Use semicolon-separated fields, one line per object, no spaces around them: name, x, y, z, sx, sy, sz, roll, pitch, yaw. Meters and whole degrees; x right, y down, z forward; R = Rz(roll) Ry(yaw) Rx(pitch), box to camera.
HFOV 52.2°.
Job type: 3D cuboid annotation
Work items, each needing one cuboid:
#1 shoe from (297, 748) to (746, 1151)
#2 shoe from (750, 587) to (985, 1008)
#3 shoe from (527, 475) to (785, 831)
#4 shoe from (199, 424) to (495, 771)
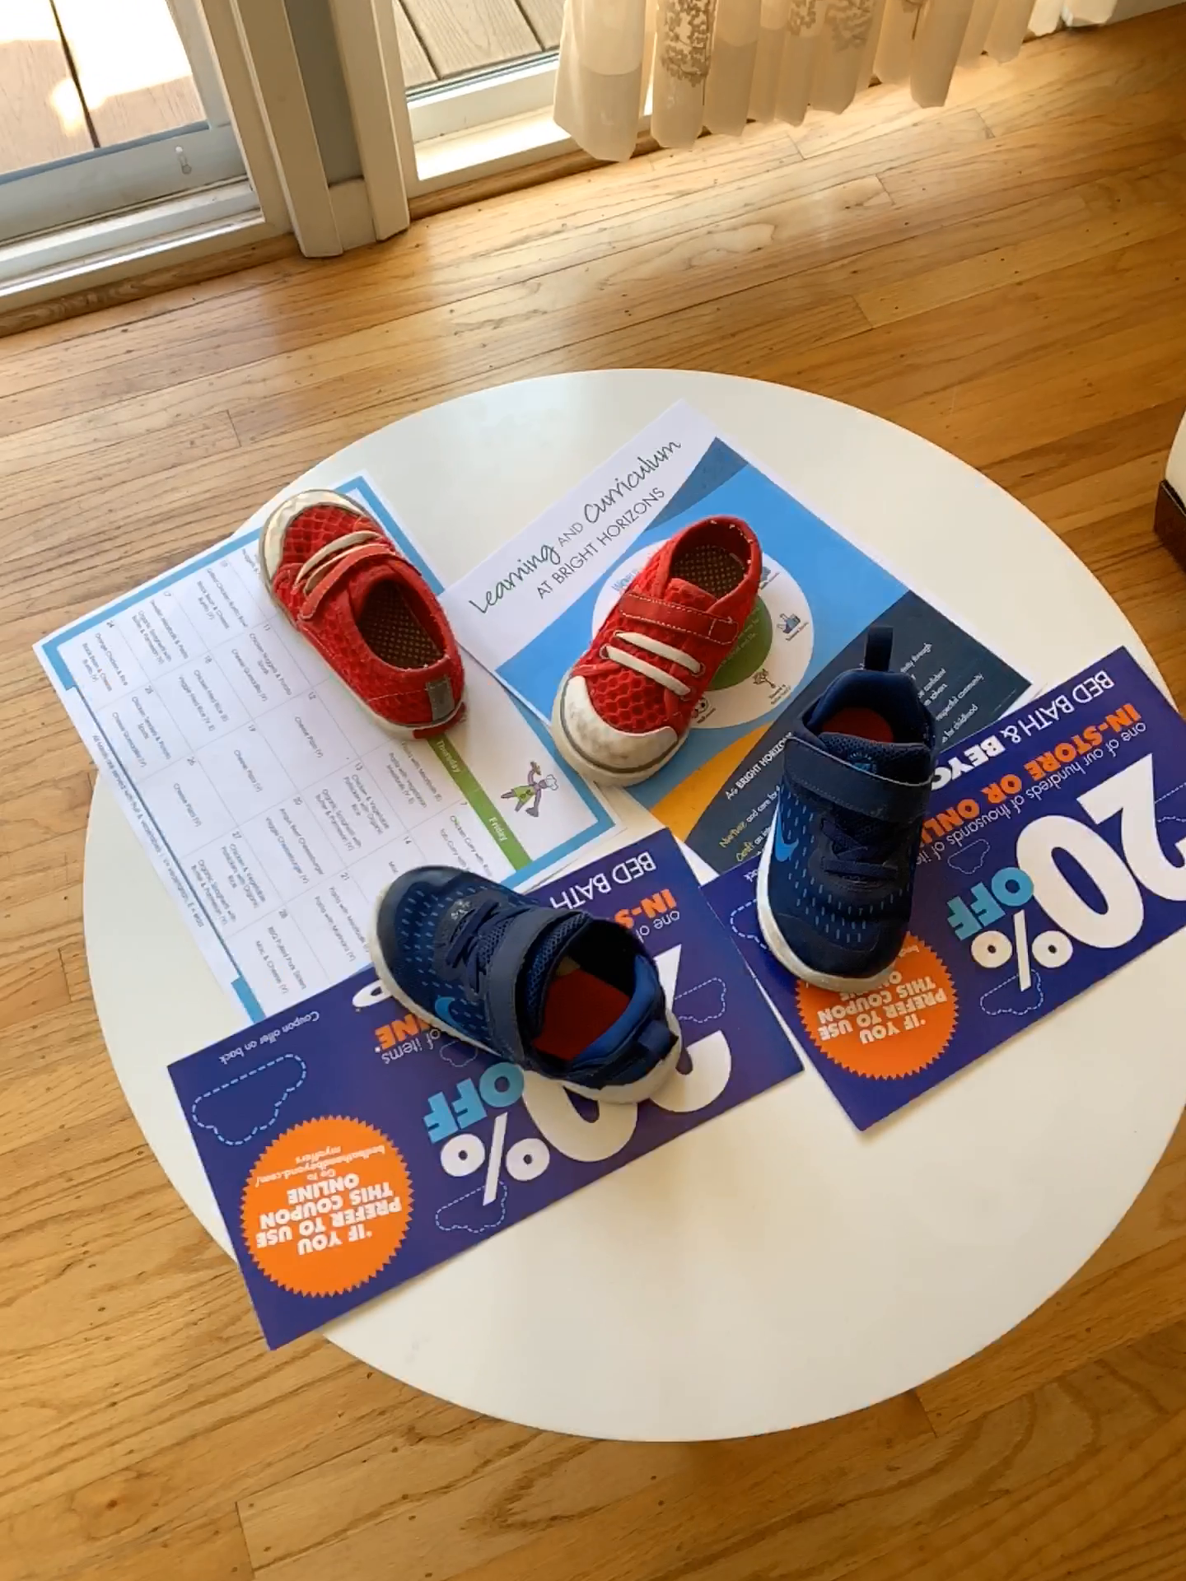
shoe;-0.027;0.069;0.504;0.150;0.100;0.080;28;69;12
shoe;0.120;0.005;0.553;0.080;0.100;0.160;5;66;2
shoe;0.033;-0.071;0.622;0.060;0.070;0.160;26;69;11
shoe;-0.128;-0.102;0.640;0.070;0.070;0.160;-34;70;-14
